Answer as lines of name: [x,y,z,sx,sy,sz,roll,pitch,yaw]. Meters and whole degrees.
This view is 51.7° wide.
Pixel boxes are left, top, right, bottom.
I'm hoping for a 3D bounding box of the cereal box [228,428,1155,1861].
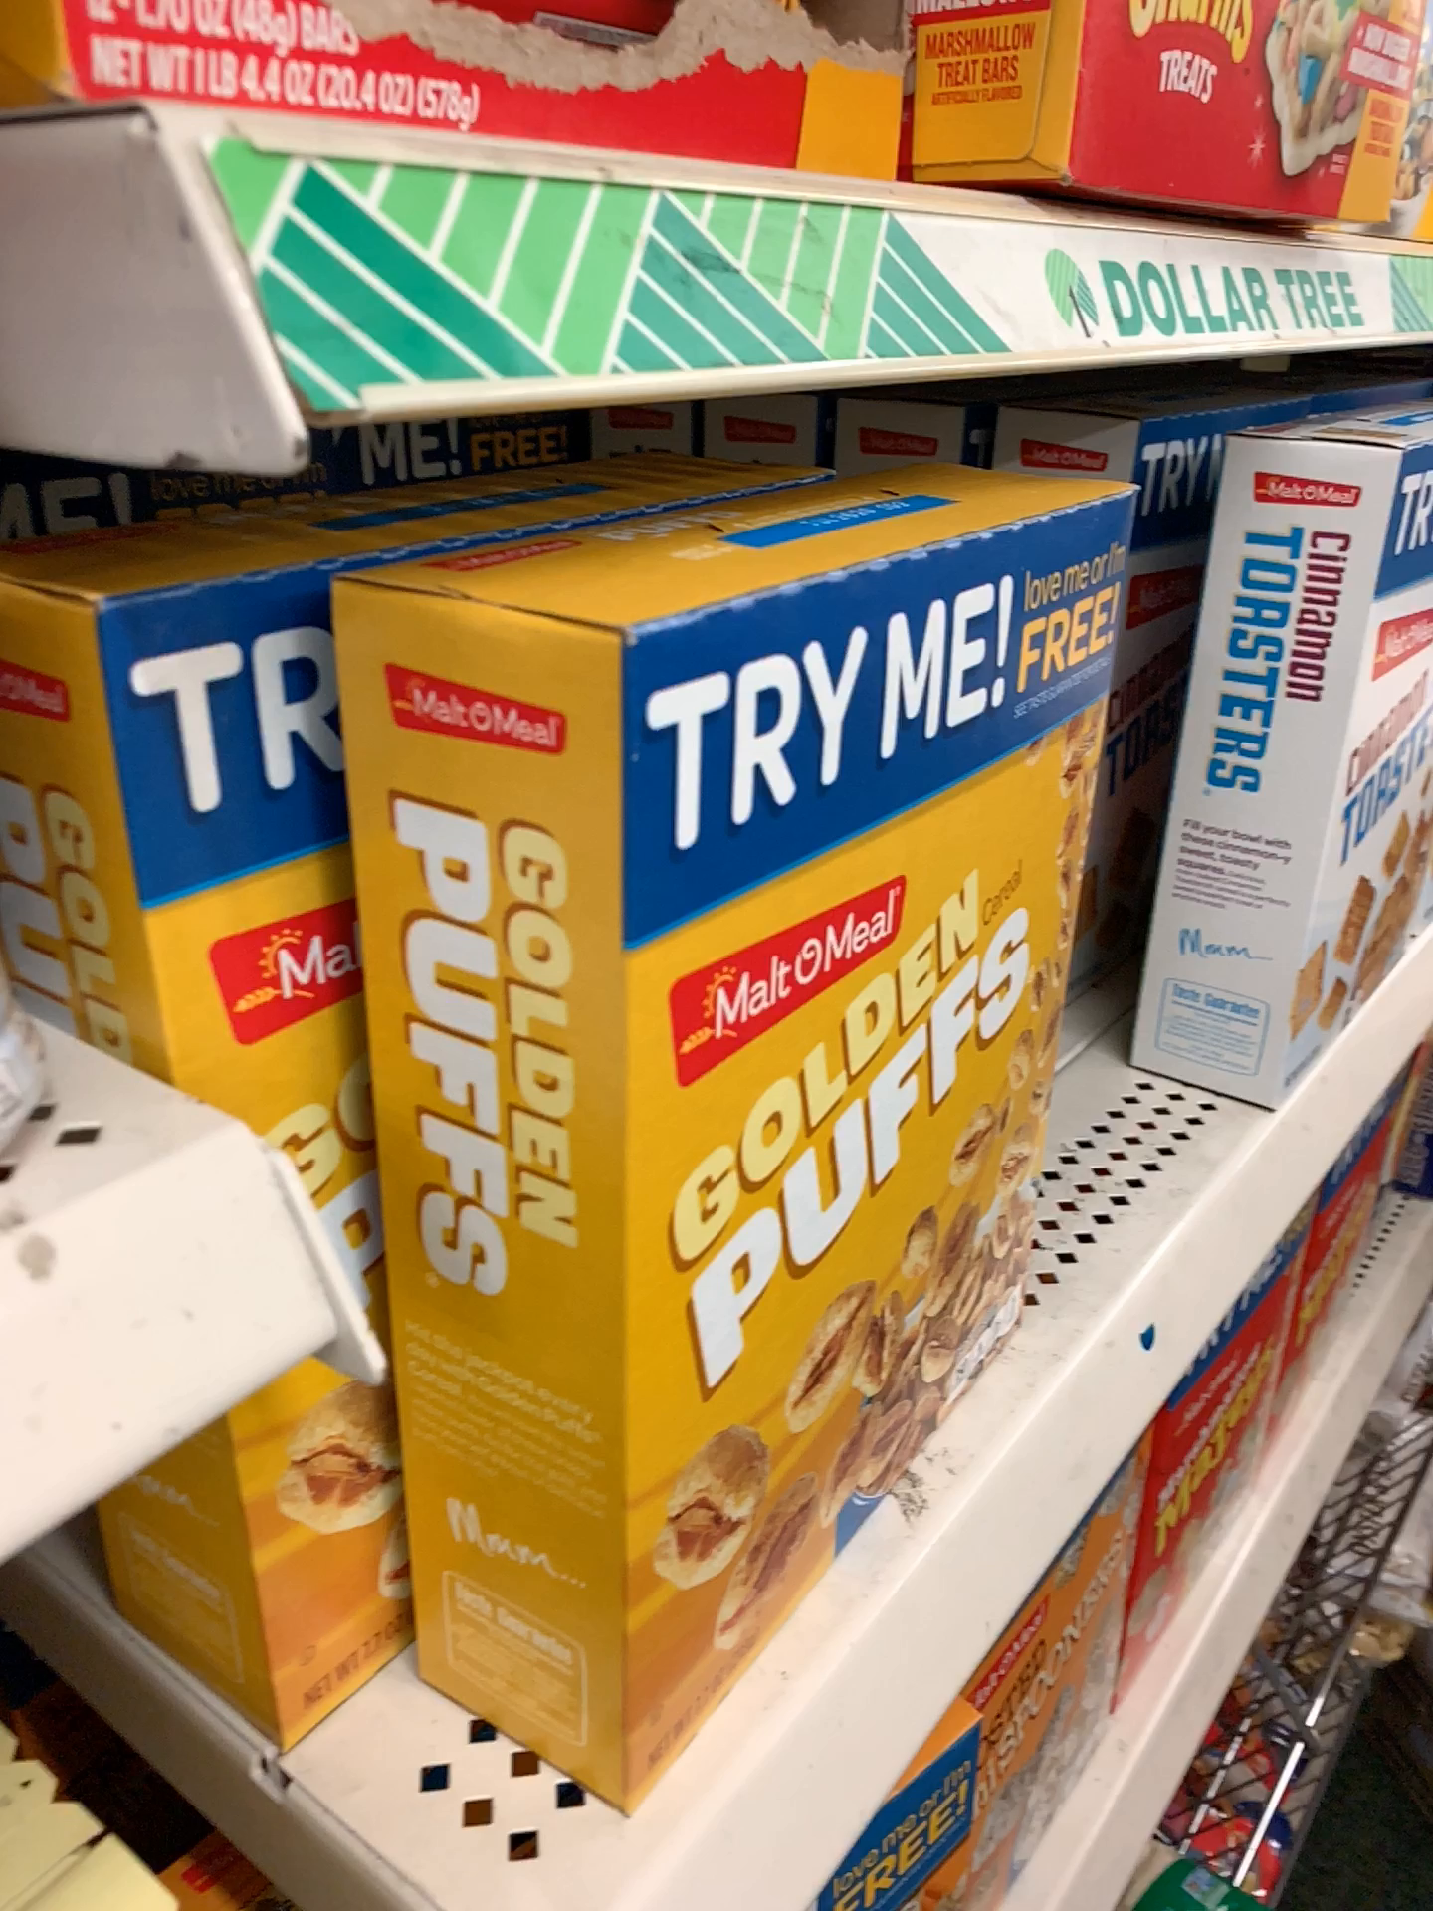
cereal box: [0.012,0.018,0.299,0.060,0.219,0.191,17,29,31]
